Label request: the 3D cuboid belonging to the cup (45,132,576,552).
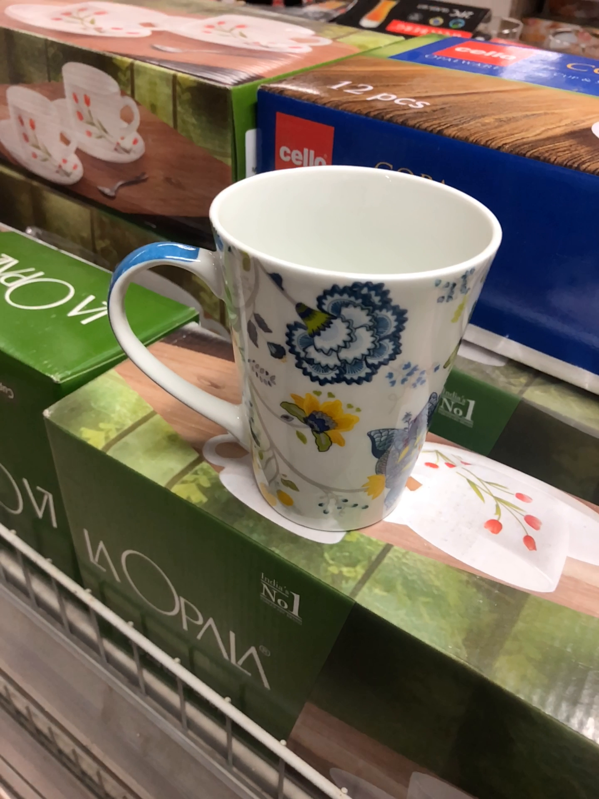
[{"bbox_3d":[0.005,-0.019,0.189,0.110,0.079,0.070,7,40,7],"label":"cup"}]
